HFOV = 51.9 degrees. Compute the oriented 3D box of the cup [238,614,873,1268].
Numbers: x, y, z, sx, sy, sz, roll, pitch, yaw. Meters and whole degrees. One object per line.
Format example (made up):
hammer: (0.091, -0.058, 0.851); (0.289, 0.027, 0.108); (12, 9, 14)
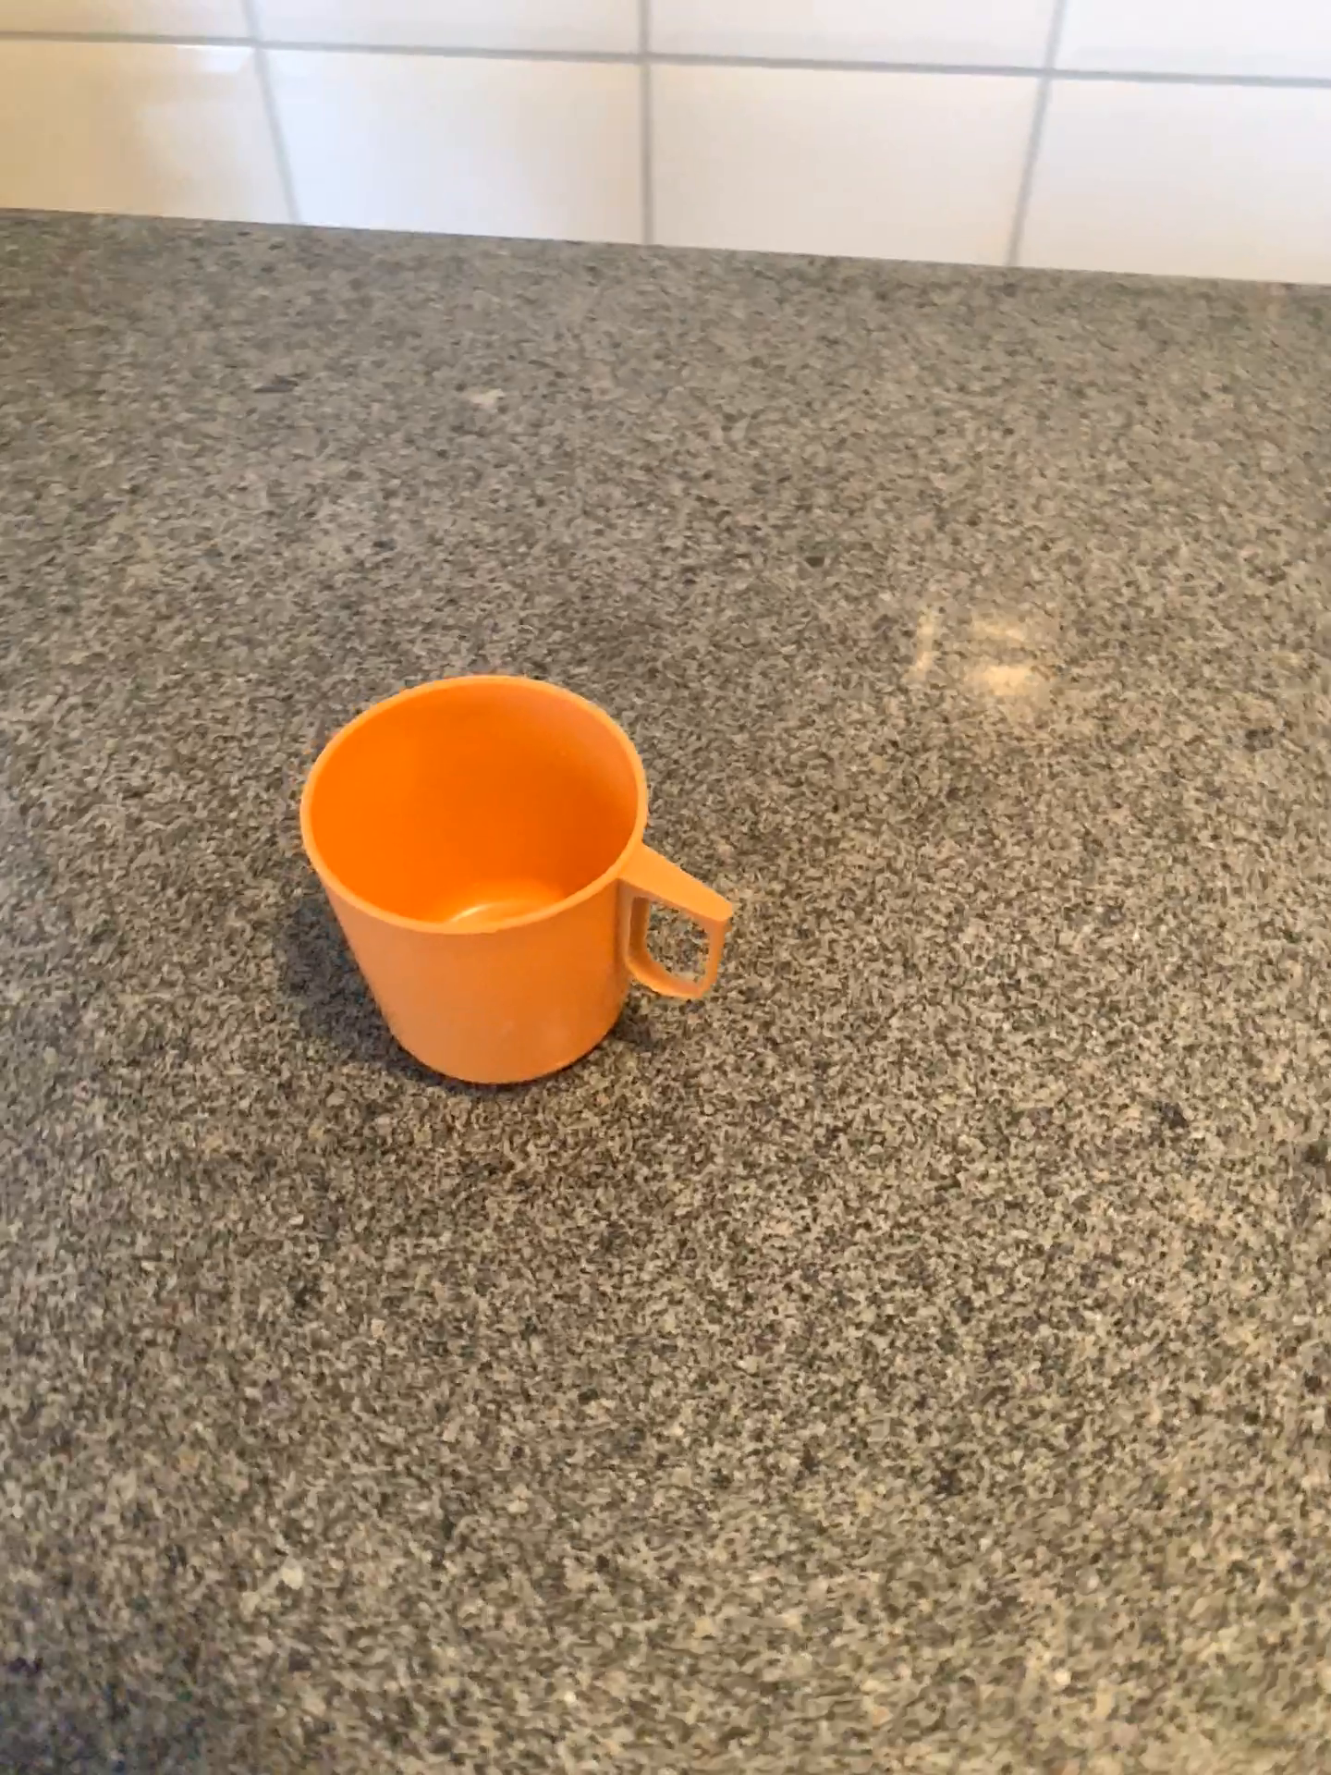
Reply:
cup: (-0.023, 0.011, 0.328); (0.110, 0.090, 0.080); (28, 56, 21)
